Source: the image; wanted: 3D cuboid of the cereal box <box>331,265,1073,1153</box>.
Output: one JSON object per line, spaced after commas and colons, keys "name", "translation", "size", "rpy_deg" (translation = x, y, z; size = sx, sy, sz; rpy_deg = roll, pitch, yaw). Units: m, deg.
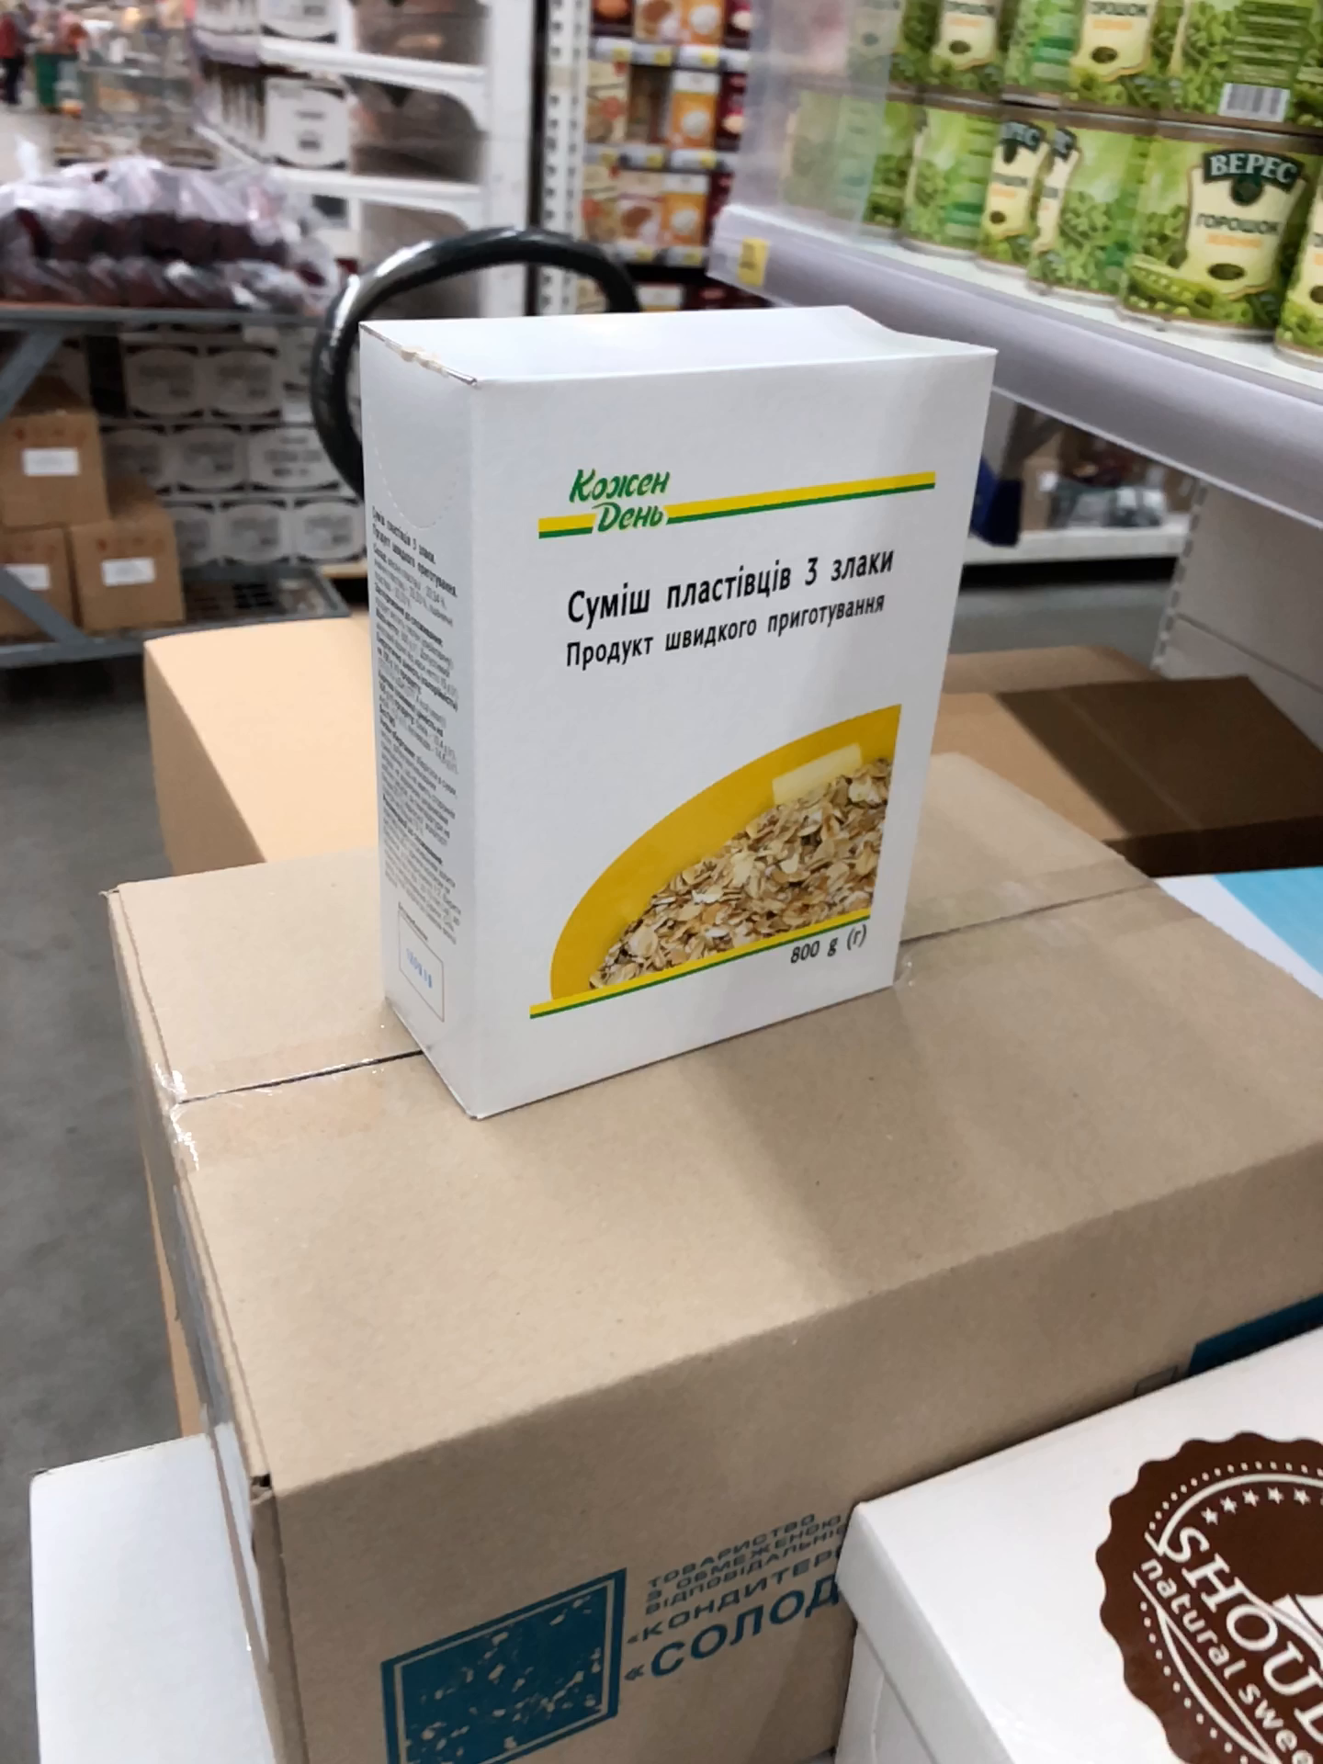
{"name": "cereal box", "translation": [0.008, -0.053, 0.406], "size": [0.170, 0.209, 0.070], "rpy_deg": [-14, 34, -28]}
